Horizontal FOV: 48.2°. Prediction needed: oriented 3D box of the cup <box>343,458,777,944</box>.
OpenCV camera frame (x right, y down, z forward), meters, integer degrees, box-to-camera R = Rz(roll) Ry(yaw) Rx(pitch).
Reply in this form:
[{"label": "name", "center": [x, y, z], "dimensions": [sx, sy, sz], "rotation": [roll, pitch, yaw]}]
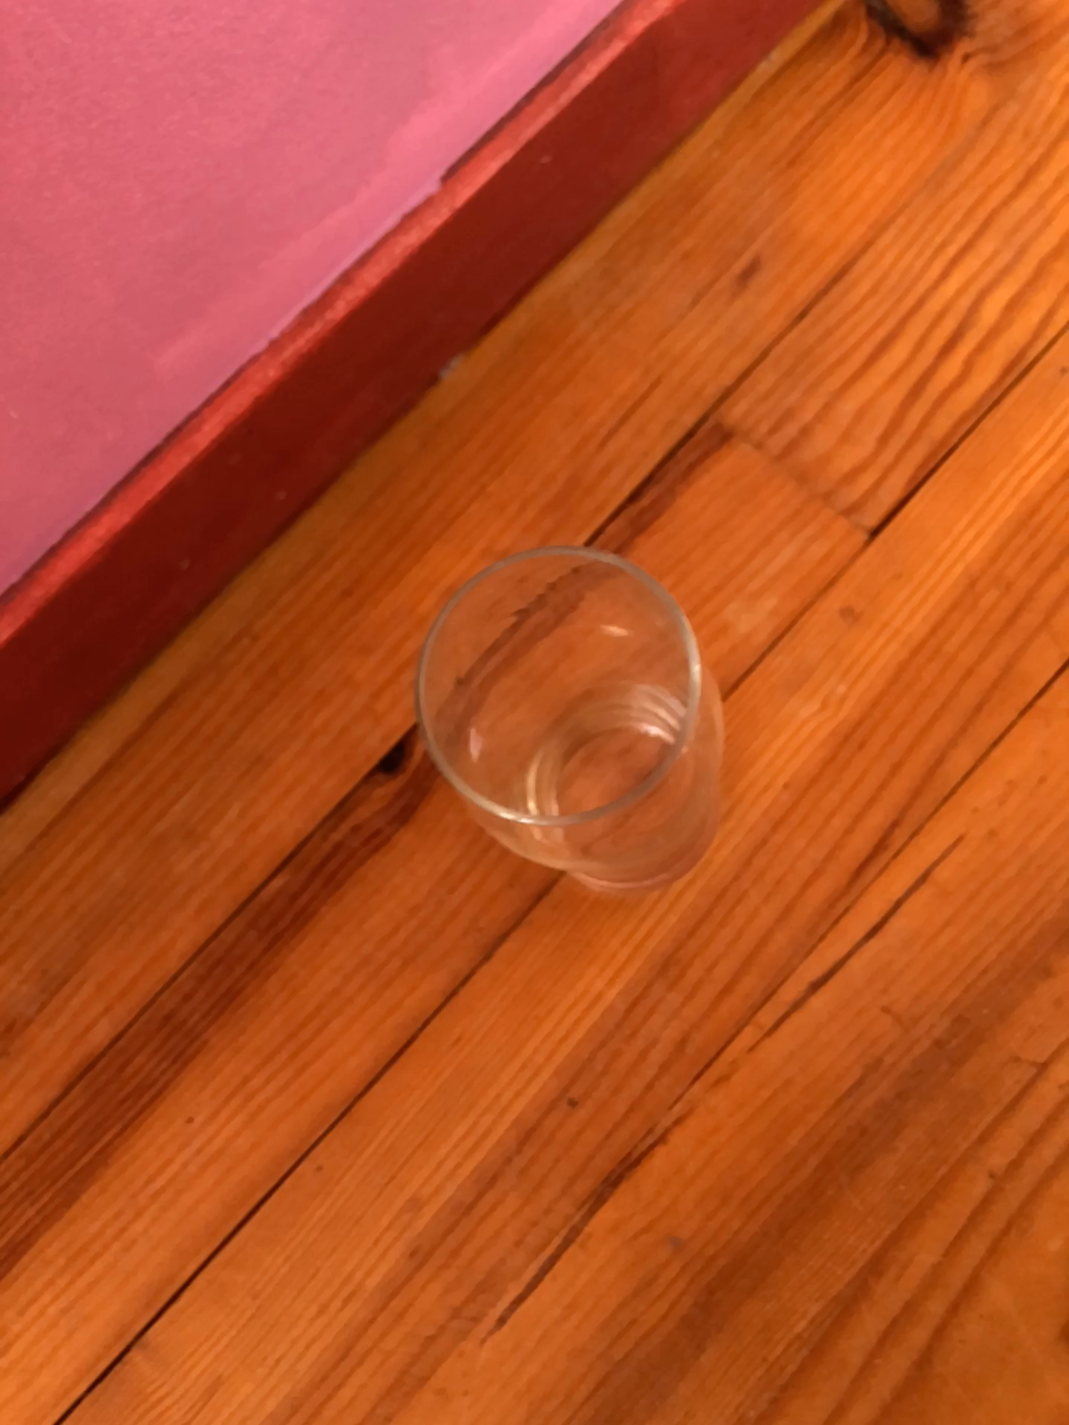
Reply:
[{"label": "cup", "center": [0.015, 0.008, 0.298], "dimensions": [0.060, 0.144, 0.064], "rotation": [-2, 74, 8]}]
